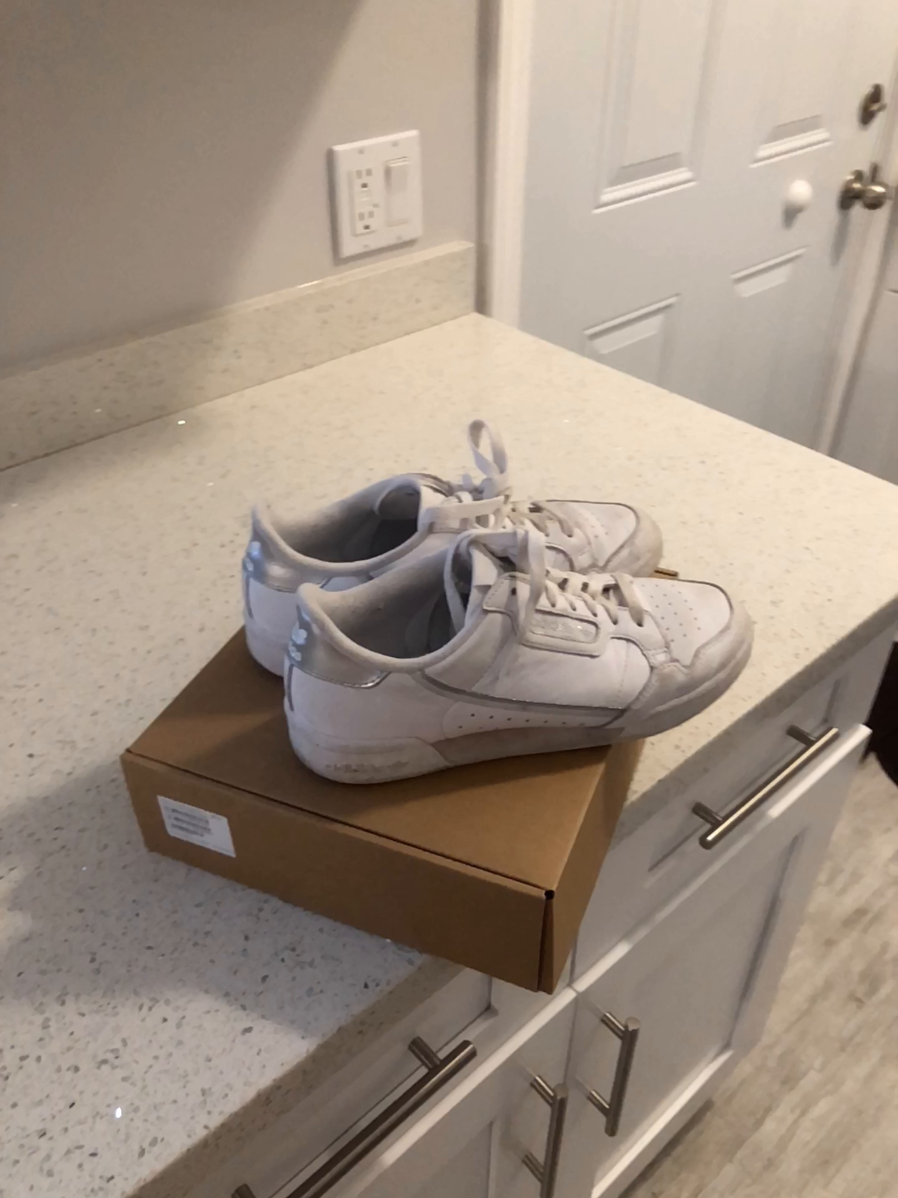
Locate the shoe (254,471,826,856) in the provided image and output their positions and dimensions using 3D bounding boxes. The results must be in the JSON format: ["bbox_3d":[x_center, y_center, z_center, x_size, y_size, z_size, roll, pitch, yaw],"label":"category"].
[{"bbox_3d":[0.046,0.025,0.529,0.268,0.100,0.108,-13,39,-17],"label":"shoe"}]

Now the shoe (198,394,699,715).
[{"bbox_3d":[0.000,-0.035,0.599,0.268,0.100,0.108,-13,39,-17],"label":"shoe"}]
